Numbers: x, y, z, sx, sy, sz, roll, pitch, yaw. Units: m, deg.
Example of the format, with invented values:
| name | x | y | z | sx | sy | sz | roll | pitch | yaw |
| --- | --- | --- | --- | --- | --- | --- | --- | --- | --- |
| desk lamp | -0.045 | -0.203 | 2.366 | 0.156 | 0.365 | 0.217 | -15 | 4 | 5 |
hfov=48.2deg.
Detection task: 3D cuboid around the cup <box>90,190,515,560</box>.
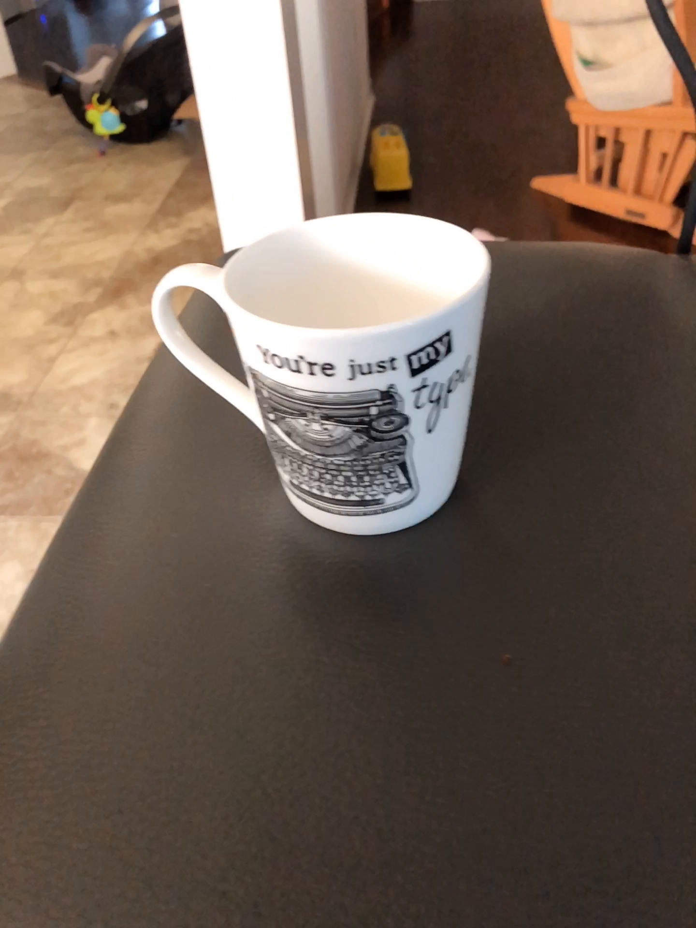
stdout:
| name | x | y | z | sx | sy | sz | roll | pitch | yaw |
| --- | --- | --- | --- | --- | --- | --- | --- | --- | --- |
| cup | -0.009 | -0.037 | 0.283 | 0.117 | 0.089 | 0.081 | 10 | 42 | 18 |
